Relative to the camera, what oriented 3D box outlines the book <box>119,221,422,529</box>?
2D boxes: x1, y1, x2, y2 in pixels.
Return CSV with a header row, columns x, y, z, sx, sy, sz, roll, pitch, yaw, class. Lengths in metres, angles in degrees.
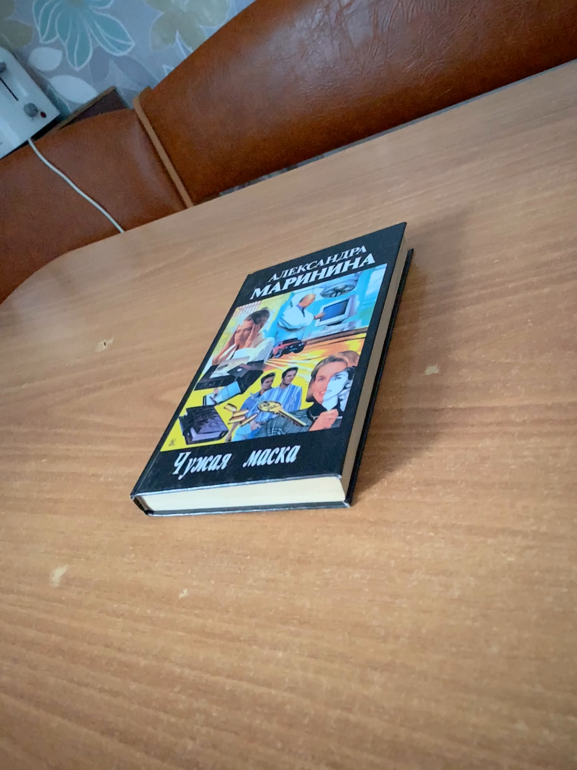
x,y,z,sx,sy,sz,roll,pitch,yaw,class
-0.001,-0.012,0.353,0.130,0.030,0.201,-11,40,32,book
